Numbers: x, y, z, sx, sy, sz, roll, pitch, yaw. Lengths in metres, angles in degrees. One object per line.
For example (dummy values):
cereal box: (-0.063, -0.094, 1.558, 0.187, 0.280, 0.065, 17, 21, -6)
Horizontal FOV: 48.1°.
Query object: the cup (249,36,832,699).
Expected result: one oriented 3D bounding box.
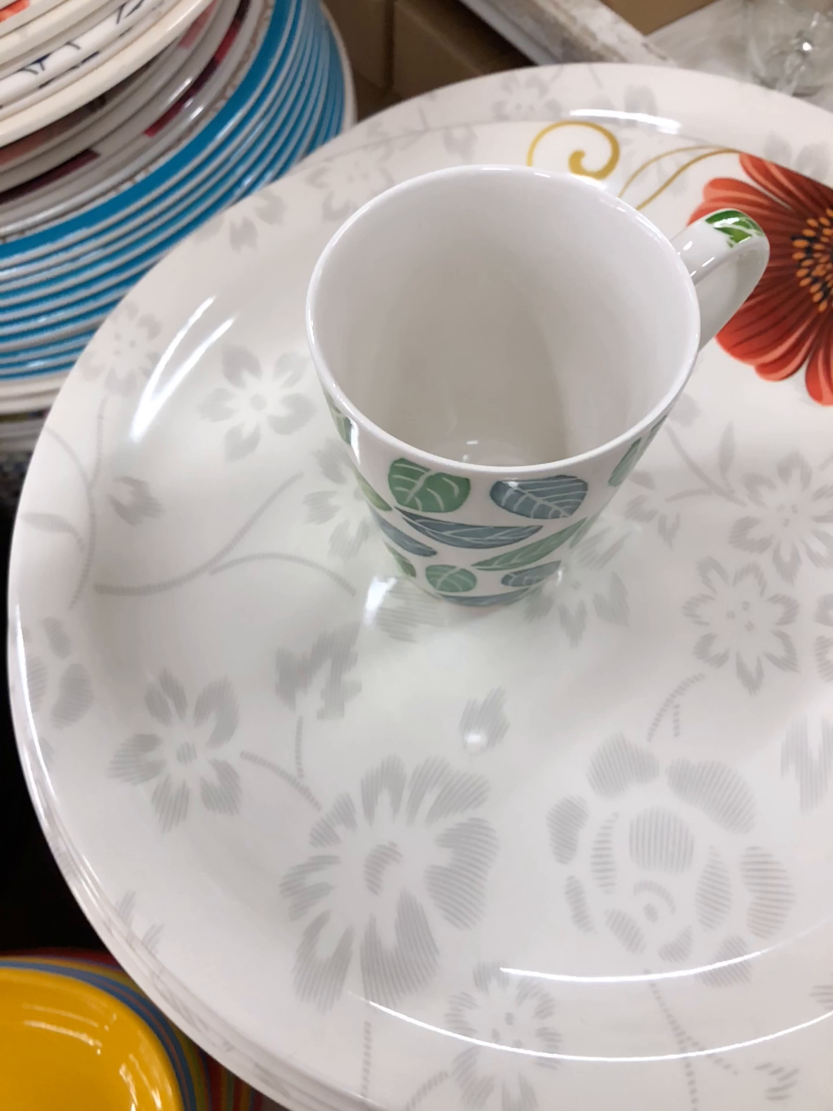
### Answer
cup: (0.035, -0.044, 0.259, 0.120, 0.120, 0.080, -35, 71, -16)
